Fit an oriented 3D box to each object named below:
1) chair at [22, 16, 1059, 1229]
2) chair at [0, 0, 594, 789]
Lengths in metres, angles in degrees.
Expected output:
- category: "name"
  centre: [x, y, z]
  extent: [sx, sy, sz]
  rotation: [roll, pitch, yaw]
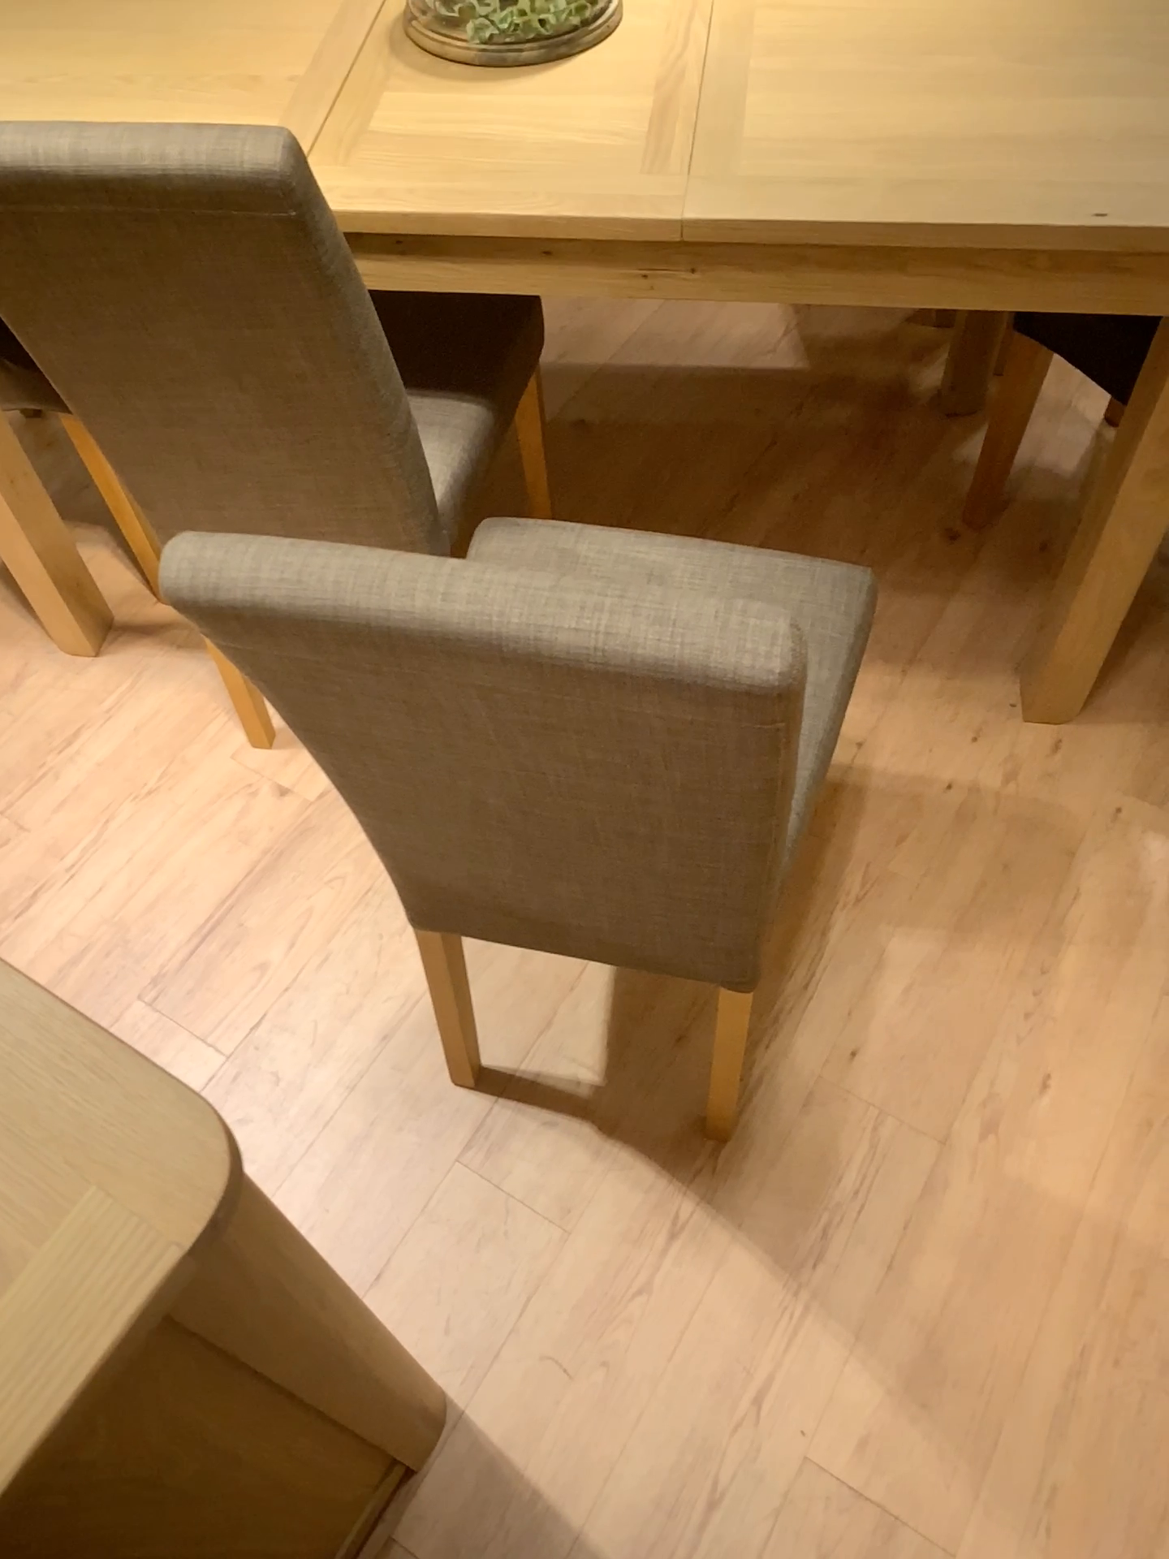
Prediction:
- category: "chair"
  centre: [0.049, -0.071, 1.090]
  extent: [0.507, 0.885, 0.608]
  rotation: [9, 55, 10]
- category: "chair"
  centre: [-0.286, -0.438, 1.339]
  extent: [0.497, 0.766, 0.507]
  rotation: [5, 55, 7]
